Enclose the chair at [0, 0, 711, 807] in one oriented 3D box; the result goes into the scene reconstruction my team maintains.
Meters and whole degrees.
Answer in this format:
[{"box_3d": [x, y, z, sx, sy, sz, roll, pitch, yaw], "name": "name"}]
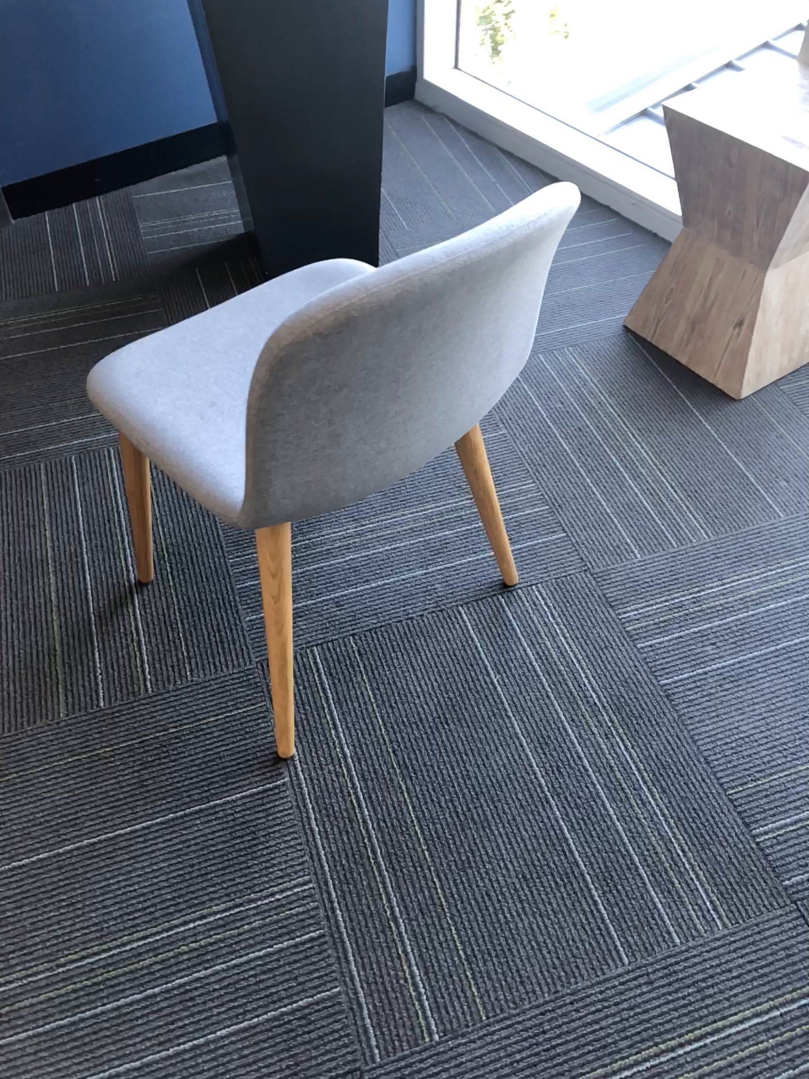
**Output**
[{"box_3d": [-0.130, -0.210, 1.208, 0.561, 0.846, 0.612, -31, 58, -25], "name": "chair"}]
